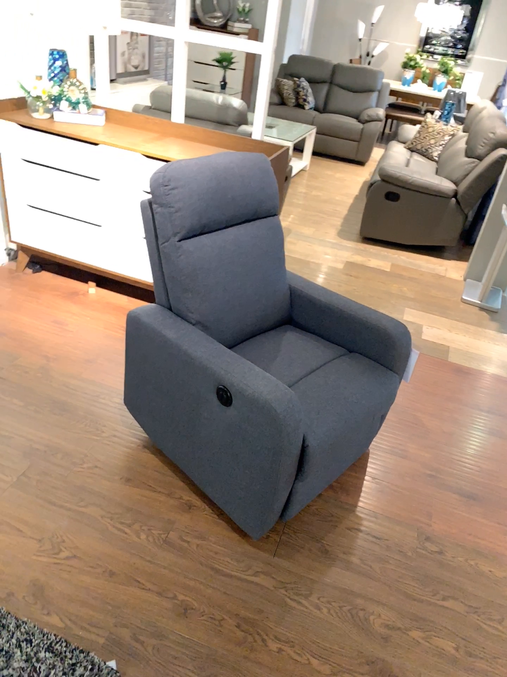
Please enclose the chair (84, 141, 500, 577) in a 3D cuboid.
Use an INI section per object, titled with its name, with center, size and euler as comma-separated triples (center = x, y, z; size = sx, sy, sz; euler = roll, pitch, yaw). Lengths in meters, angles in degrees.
[chair]
center = 0.089, -0.047, 1.814
size = 0.882, 0.966, 0.932
euler = 31, 39, 31
